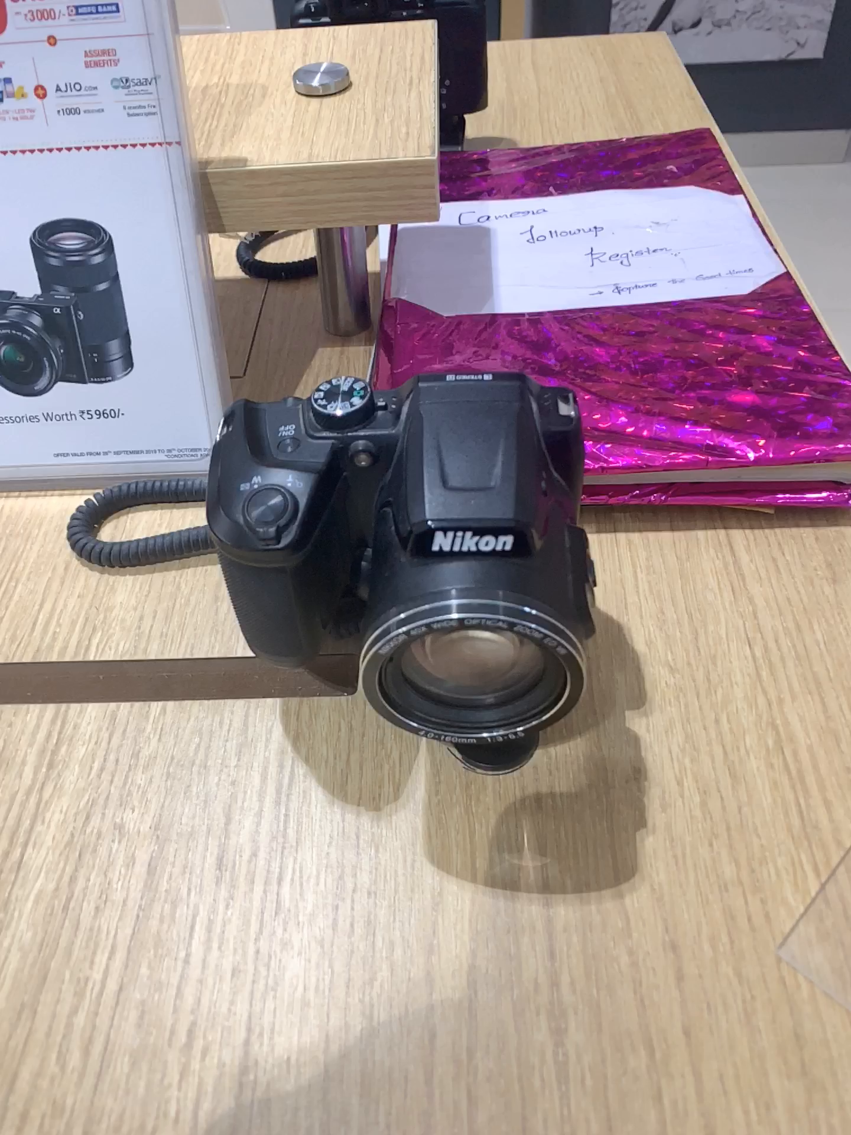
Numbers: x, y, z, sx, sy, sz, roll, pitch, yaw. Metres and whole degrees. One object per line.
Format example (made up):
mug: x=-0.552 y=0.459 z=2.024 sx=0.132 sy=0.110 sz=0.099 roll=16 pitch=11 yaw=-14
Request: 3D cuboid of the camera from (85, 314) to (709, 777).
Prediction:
camera: x=-0.004 y=-0.005 z=0.244 sx=0.130 sy=0.090 sz=0.090 roll=-1 pitch=47 yaw=2
